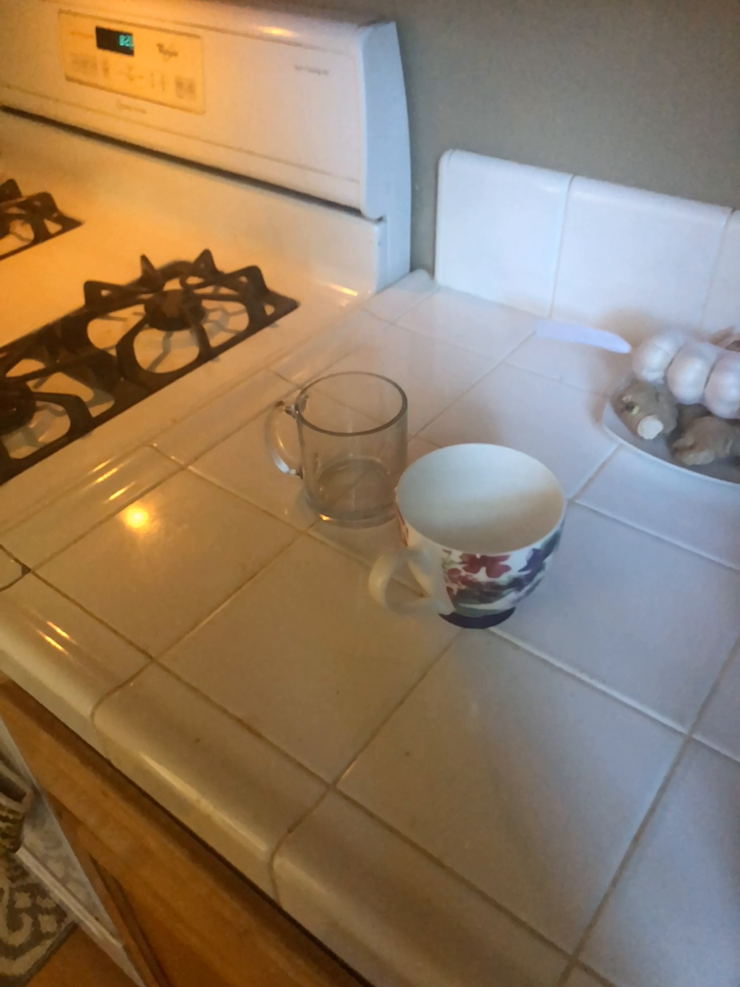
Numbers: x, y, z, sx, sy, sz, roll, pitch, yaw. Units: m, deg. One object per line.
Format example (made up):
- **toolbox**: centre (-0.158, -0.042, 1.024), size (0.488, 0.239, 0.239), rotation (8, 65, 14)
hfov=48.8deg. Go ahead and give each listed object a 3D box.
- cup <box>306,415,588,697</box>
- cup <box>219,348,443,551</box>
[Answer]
- **cup**: centre (0.050, 0.034, 0.532), size (0.110, 0.079, 0.141), rotation (31, 51, 32)
- **cup**: centre (-0.026, -0.037, 0.619), size (0.130, 0.079, 0.101), rotation (18, 45, 22)
